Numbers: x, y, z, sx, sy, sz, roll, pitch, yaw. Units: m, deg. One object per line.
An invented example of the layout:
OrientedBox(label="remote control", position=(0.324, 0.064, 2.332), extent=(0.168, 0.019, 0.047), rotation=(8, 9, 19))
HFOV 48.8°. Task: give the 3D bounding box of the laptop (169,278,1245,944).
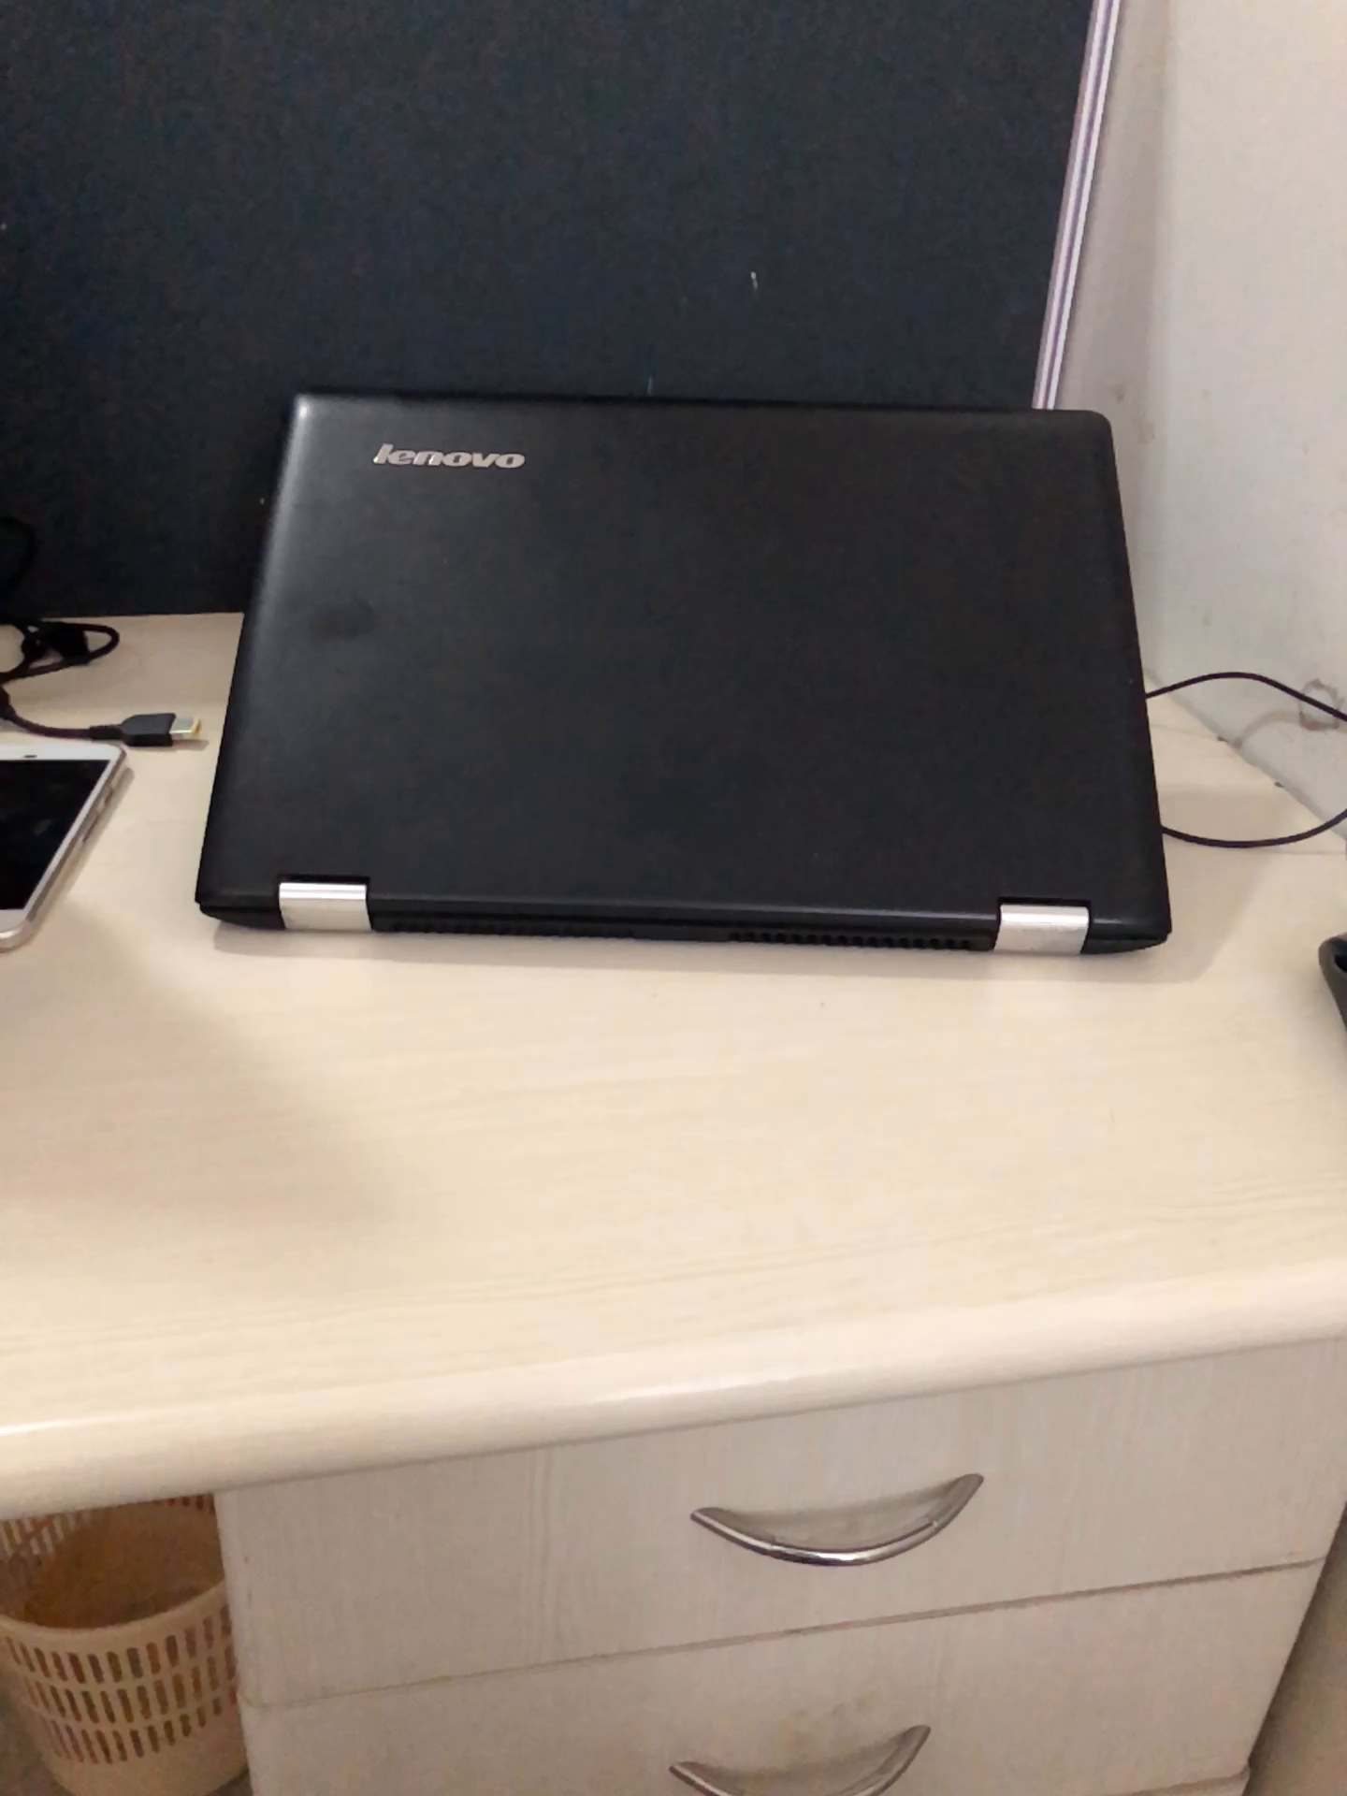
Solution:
OrientedBox(label="laptop", position=(0.008, -0.118, 0.560), extent=(0.324, 0.142, 0.206), rotation=(2, 36, 0))
